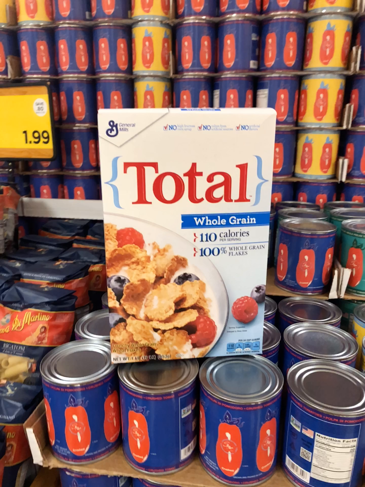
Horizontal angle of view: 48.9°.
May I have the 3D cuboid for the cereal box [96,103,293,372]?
[{"bbox_3d":[0.012,-0.007,0.494,0.210,0.309,0.070,-2,15,-7],"label":"cereal box"}]
